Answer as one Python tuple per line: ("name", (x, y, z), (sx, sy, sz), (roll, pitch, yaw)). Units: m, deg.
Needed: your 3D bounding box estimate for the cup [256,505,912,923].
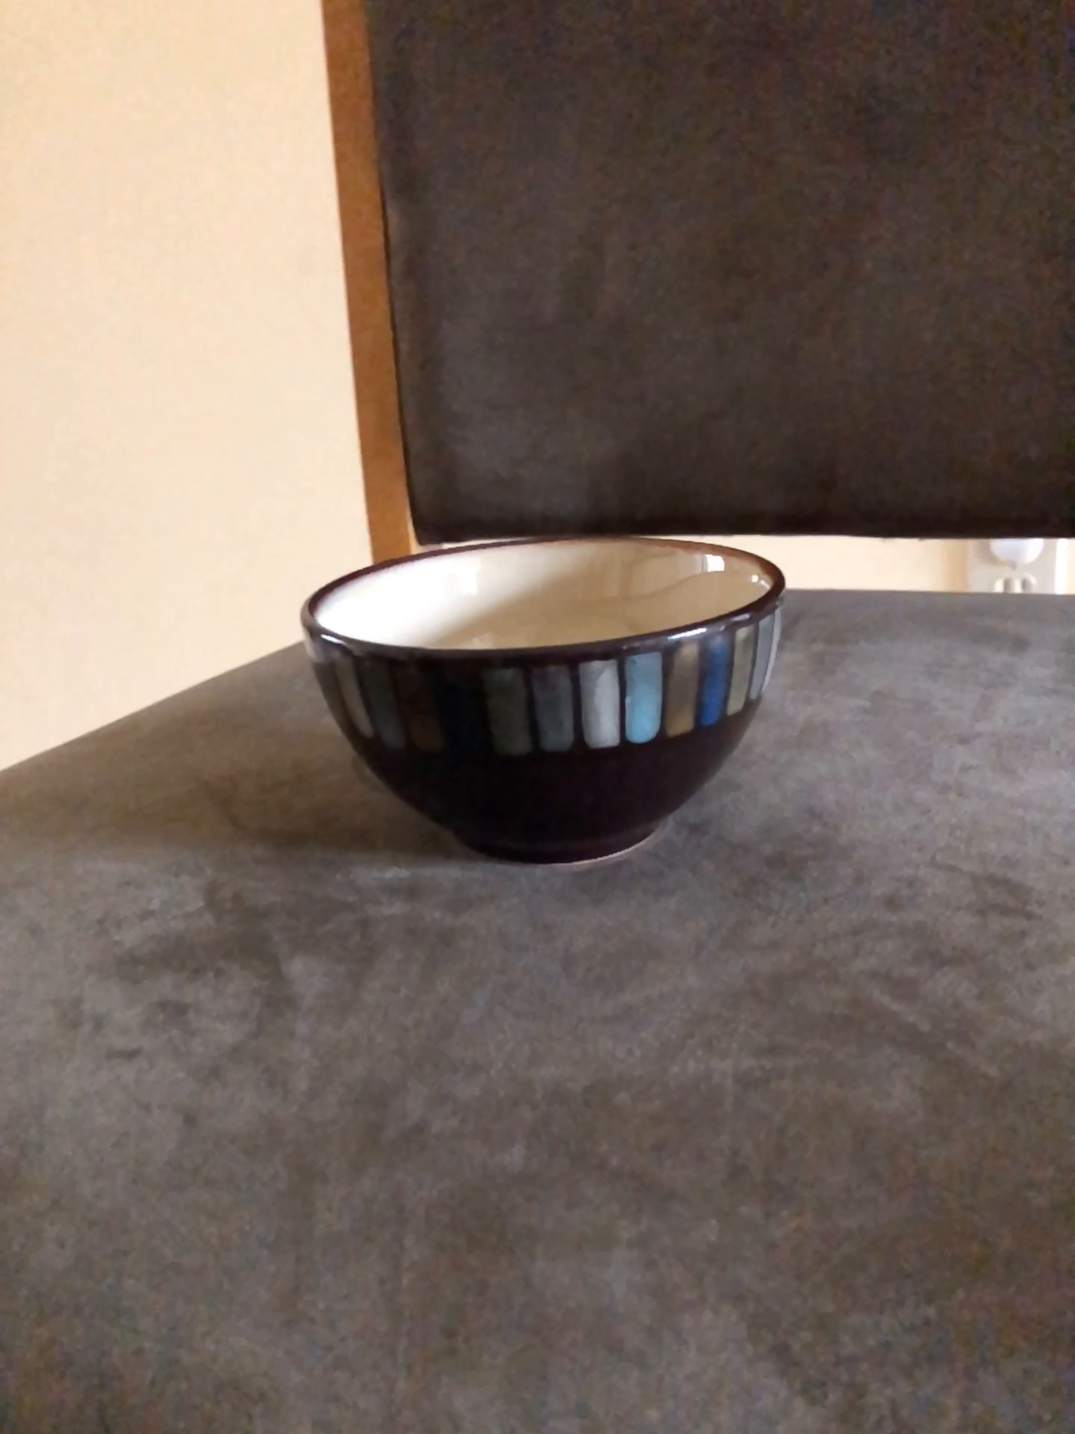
("cup", (0.005, -0.012, 0.282), (0.108, 0.044, 0.115), (-4, 21, 2))
